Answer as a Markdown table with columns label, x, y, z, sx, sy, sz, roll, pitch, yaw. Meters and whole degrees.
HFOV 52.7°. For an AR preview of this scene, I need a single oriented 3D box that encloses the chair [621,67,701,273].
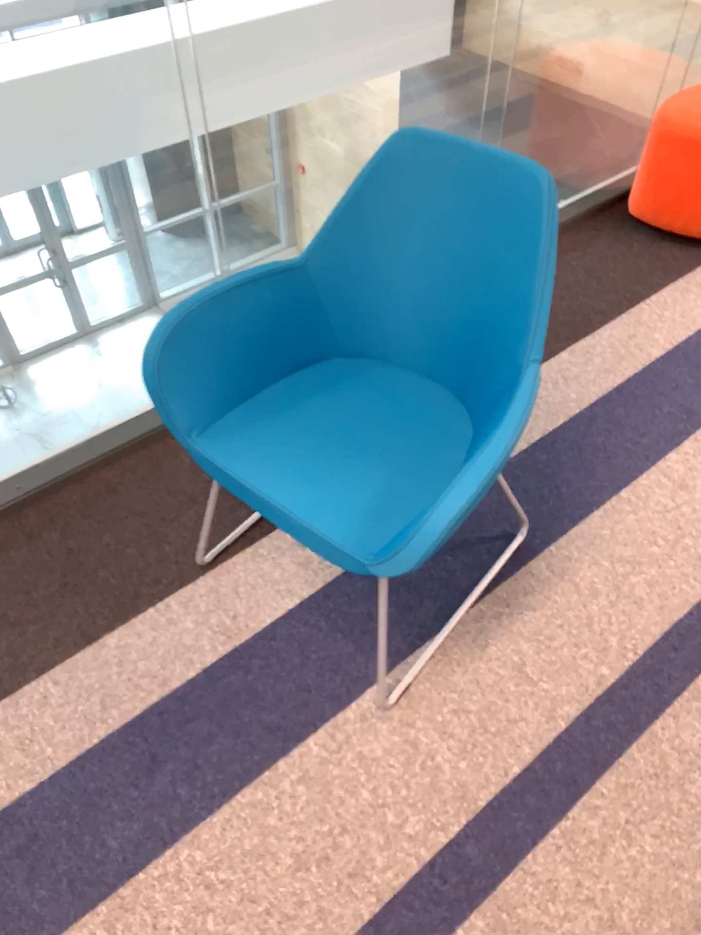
| label | x | y | z | sx | sy | sz | roll | pitch | yaw |
| --- | --- | --- | --- | --- | --- | --- | --- | --- | --- |
| chair | 1.564 | -1.195 | 2.781 | 0.641 | 0.396 | 0.652 | 32 | 56 | 26 |

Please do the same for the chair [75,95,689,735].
| label | x | y | z | sx | sy | sz | roll | pitch | yaw |
| --- | --- | --- | --- | --- | --- | --- | --- | --- | --- |
| chair | 0.060 | -0.104 | 1.383 | 0.672 | 0.836 | 0.652 | 32 | 56 | 26 |
